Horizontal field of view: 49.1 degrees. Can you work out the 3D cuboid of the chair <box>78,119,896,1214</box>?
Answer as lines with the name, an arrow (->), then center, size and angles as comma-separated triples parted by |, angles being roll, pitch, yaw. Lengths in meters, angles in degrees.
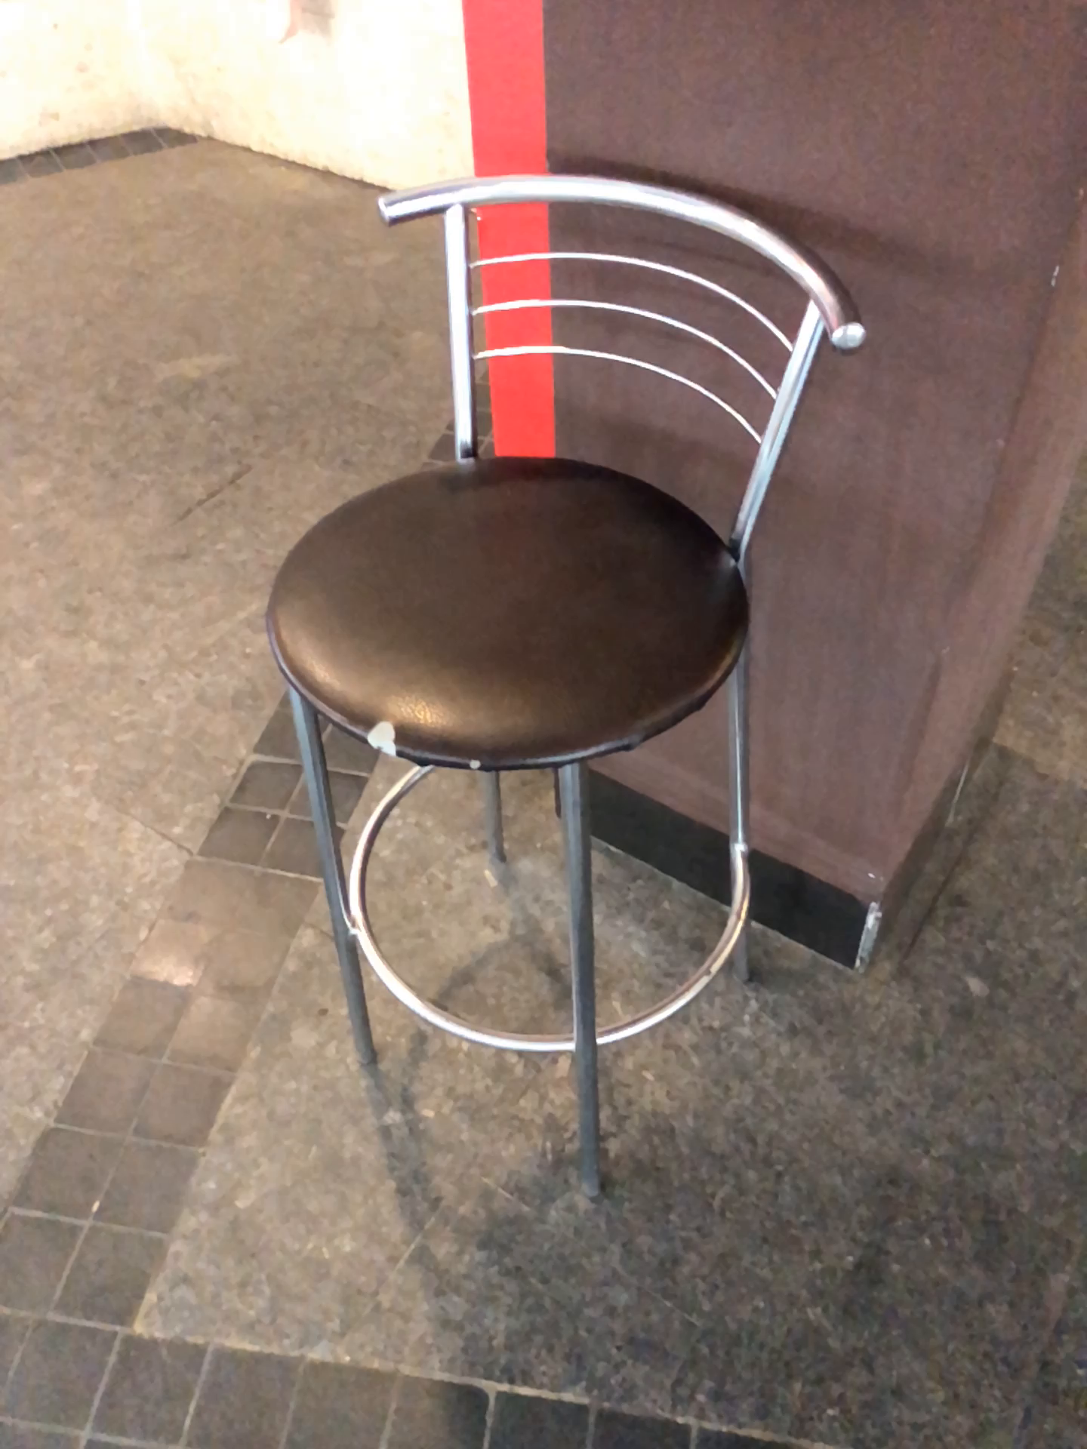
chair -> -0.010, 0.008, 1.158 | 0.410, 0.936, 0.411 | 22, 51, 22
